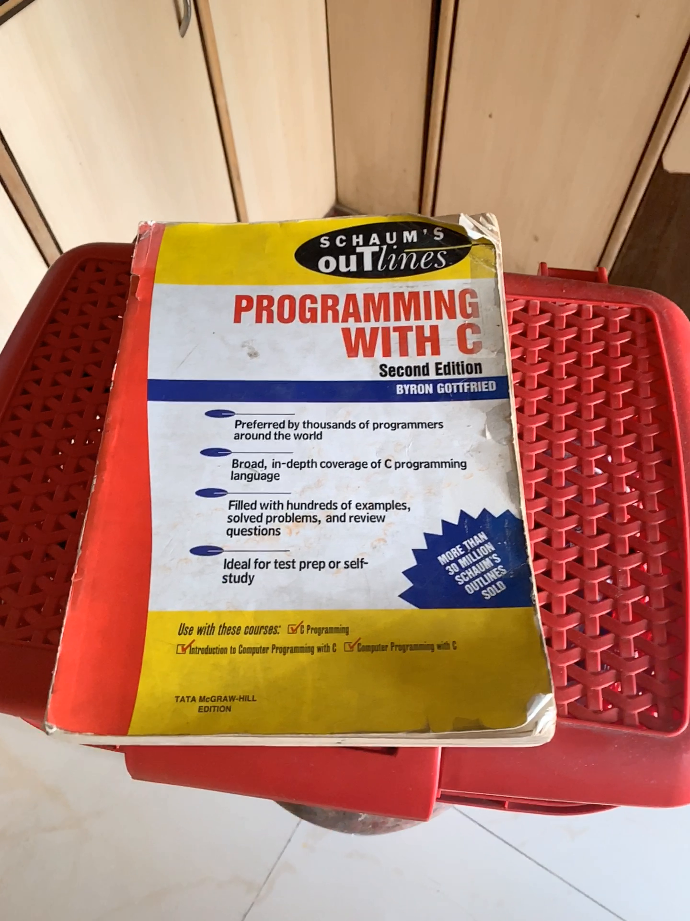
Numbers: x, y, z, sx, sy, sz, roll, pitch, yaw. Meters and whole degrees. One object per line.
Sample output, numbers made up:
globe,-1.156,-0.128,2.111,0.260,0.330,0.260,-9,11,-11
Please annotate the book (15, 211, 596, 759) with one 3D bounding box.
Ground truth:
book,-0.012,-0.003,0.325,0.200,0.050,0.251,0,62,2
